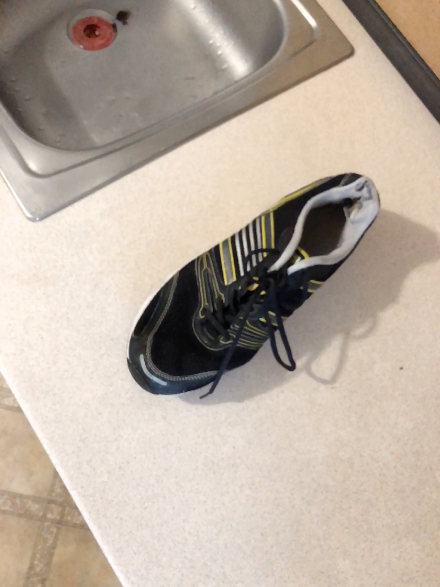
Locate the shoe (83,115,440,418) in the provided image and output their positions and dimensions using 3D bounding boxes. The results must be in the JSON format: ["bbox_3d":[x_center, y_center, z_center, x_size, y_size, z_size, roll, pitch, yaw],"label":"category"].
[{"bbox_3d":[0.044,-0.025,0.460,0.310,0.100,0.110,-35,81,-13],"label":"shoe"}]
